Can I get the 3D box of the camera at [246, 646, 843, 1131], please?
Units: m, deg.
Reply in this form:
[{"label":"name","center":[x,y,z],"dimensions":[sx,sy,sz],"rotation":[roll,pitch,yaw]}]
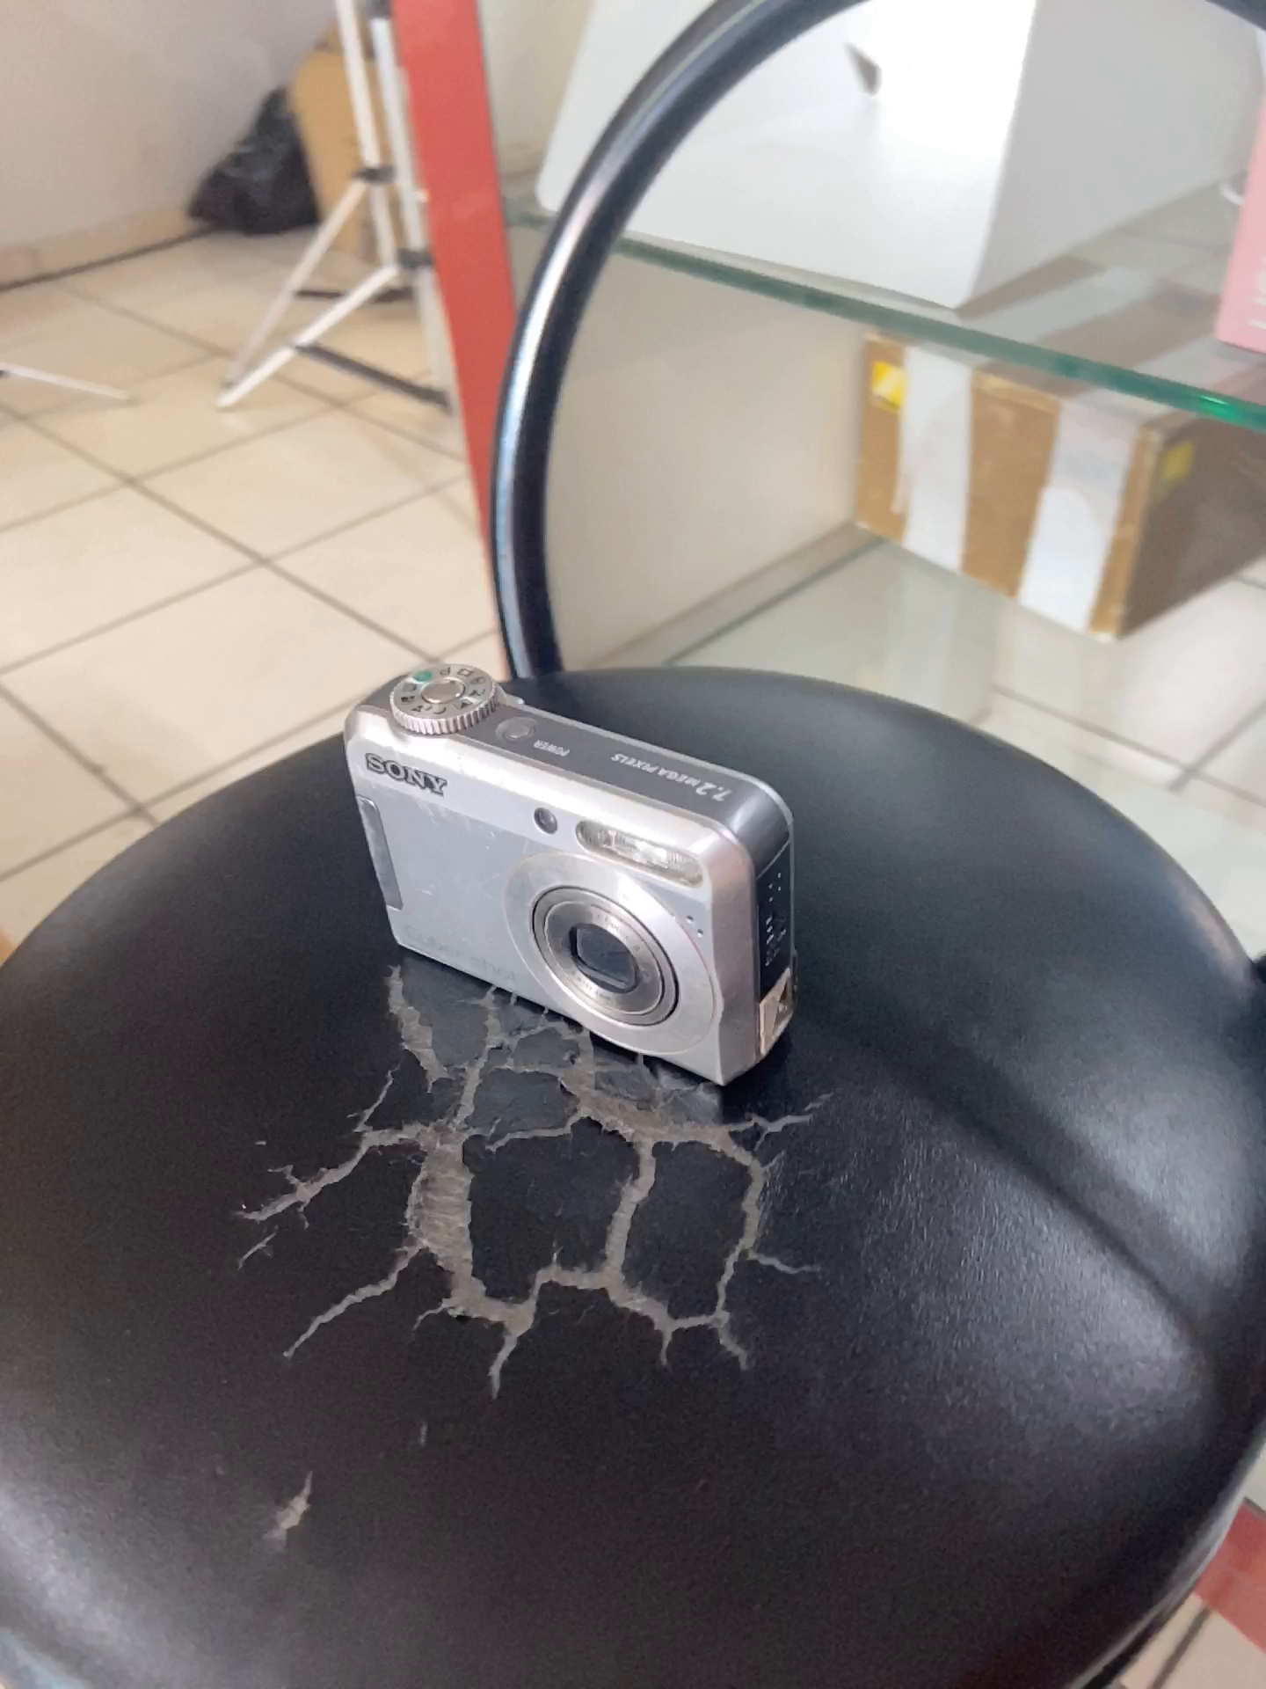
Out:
[{"label":"camera","center":[-0.016,0.005,0.246],"dimensions":[0.100,0.050,0.040],"rotation":[18,45,26]}]
